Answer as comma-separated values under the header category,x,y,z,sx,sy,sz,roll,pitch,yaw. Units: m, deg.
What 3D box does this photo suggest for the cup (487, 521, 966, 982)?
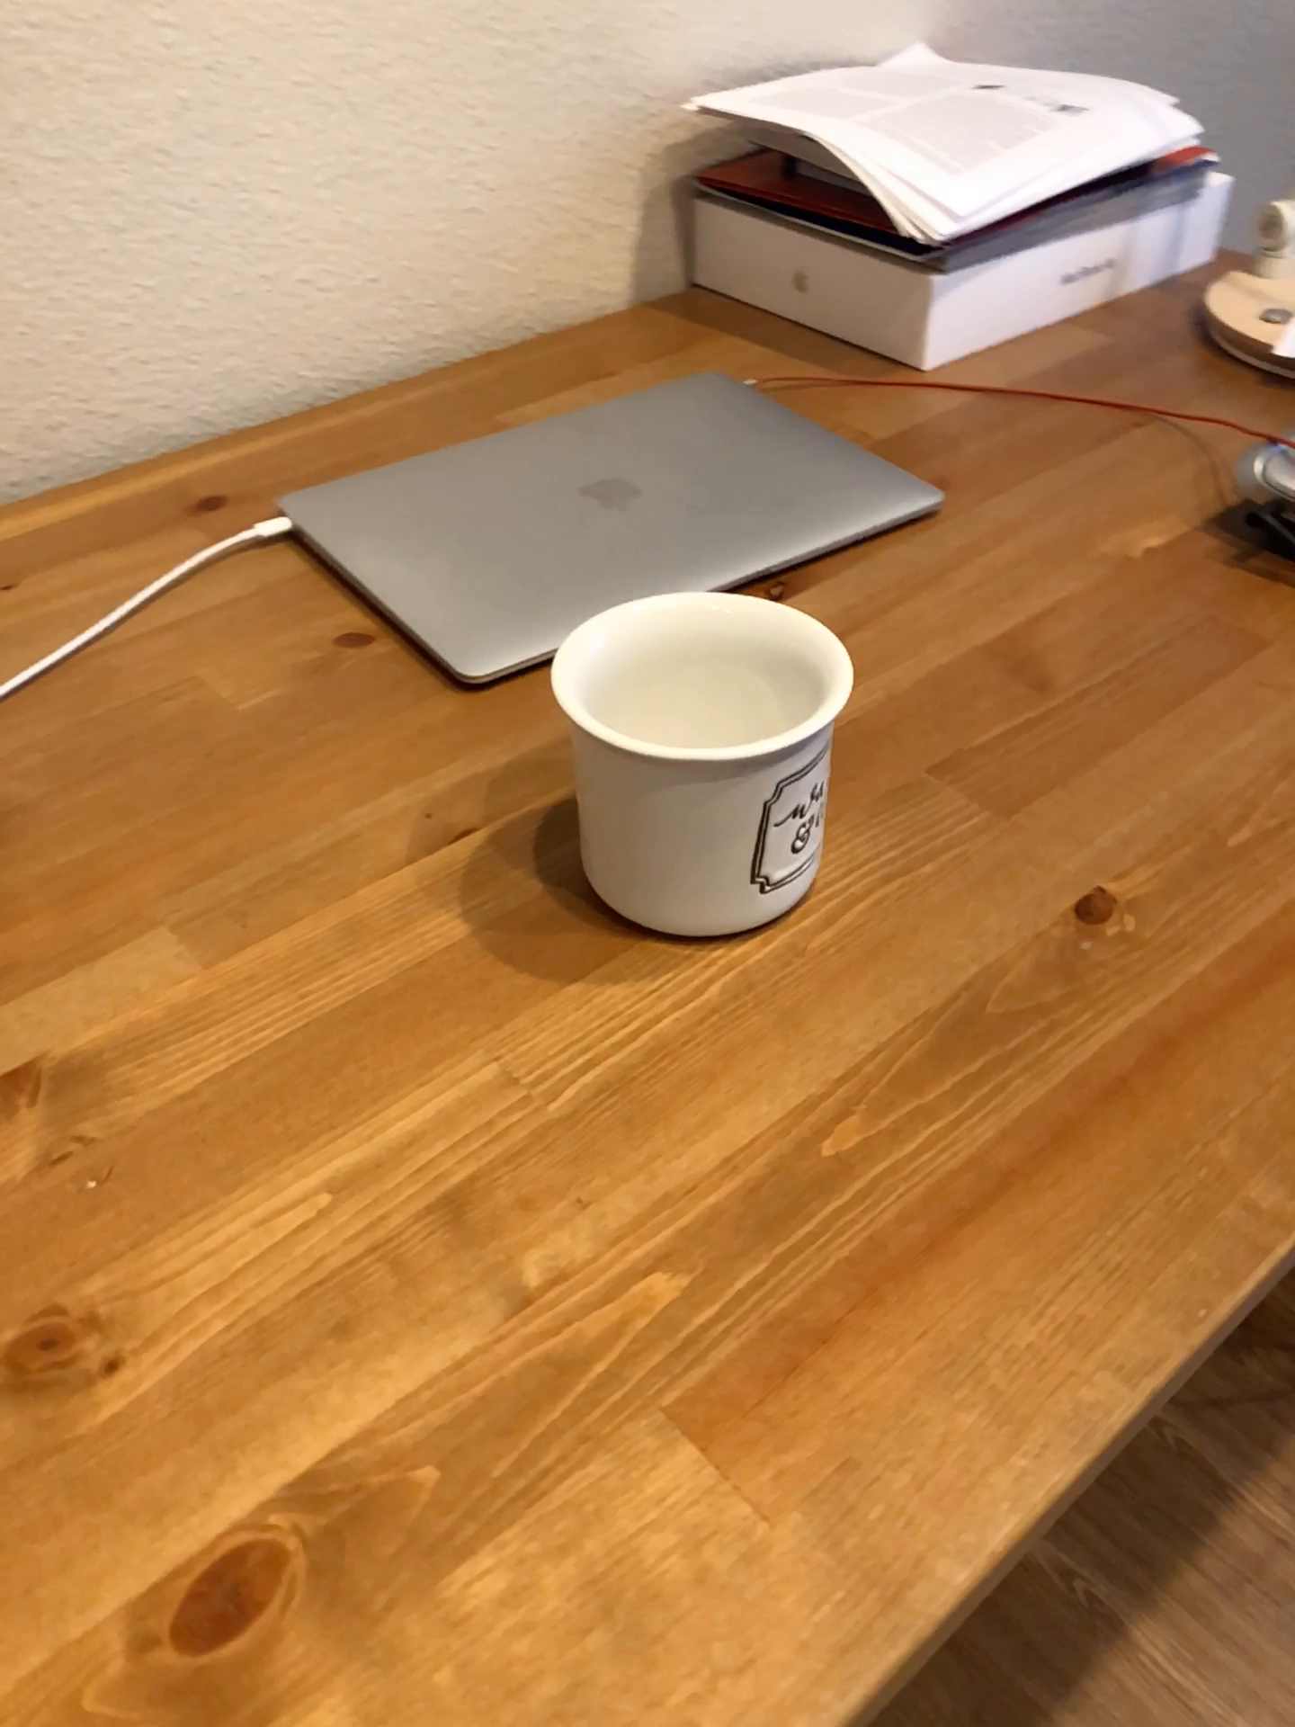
category,x,y,z,sx,sy,sz,roll,pitch,yaw
cup,0.034,-0.050,0.548,0.120,0.080,0.150,19,44,22
